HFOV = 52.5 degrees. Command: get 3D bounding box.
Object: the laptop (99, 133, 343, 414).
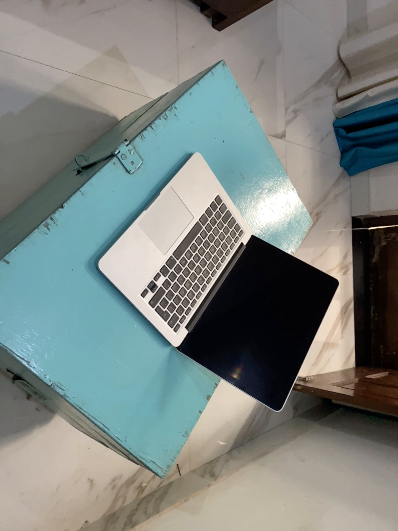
[{"bbox_3d":[0.075,0.019,0.753,0.378,0.148,0.313,52,57,-28],"label":"laptop"}]
